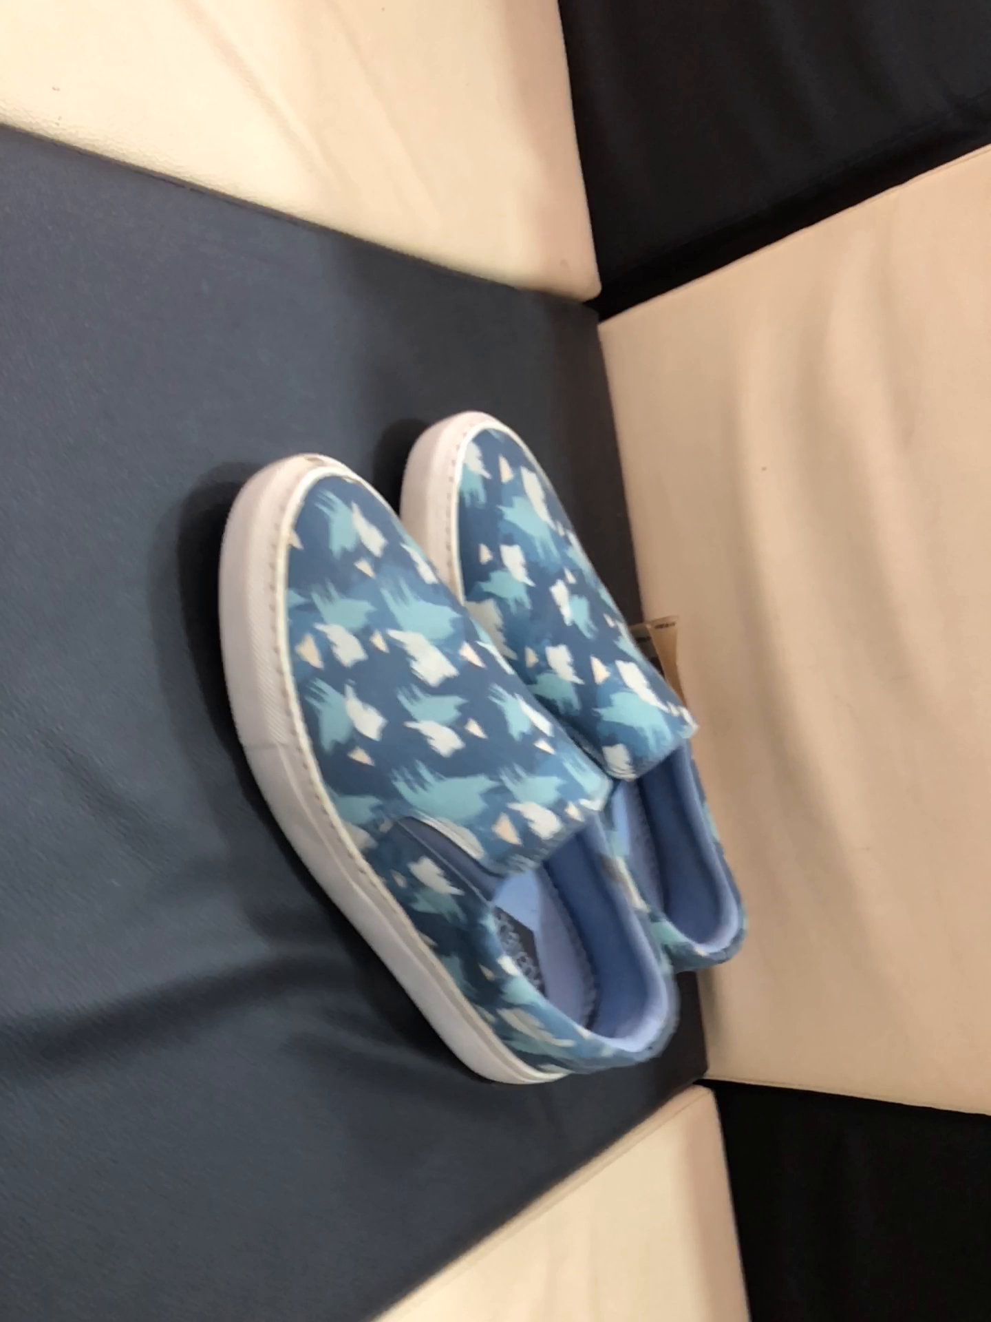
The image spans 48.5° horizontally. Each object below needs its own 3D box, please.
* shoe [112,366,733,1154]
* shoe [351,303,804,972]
[{"bbox_3d":[-0.014,0.044,0.447,0.121,0.089,0.281,-44,116,-44],"label":"shoe"},{"bbox_3d":[0.051,-0.005,0.505,0.111,0.060,0.281,-44,116,-44],"label":"shoe"}]
